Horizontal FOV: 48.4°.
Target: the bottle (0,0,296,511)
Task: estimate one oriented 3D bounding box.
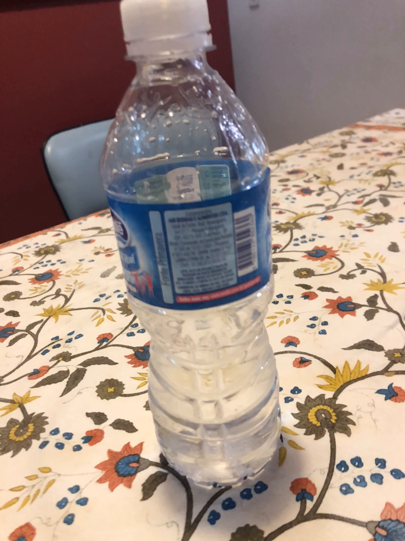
[{"bbox_3d":[-0.009,0.000,0.175,0.070,0.189,0.060,-8,27,1],"label":"bottle"}]
